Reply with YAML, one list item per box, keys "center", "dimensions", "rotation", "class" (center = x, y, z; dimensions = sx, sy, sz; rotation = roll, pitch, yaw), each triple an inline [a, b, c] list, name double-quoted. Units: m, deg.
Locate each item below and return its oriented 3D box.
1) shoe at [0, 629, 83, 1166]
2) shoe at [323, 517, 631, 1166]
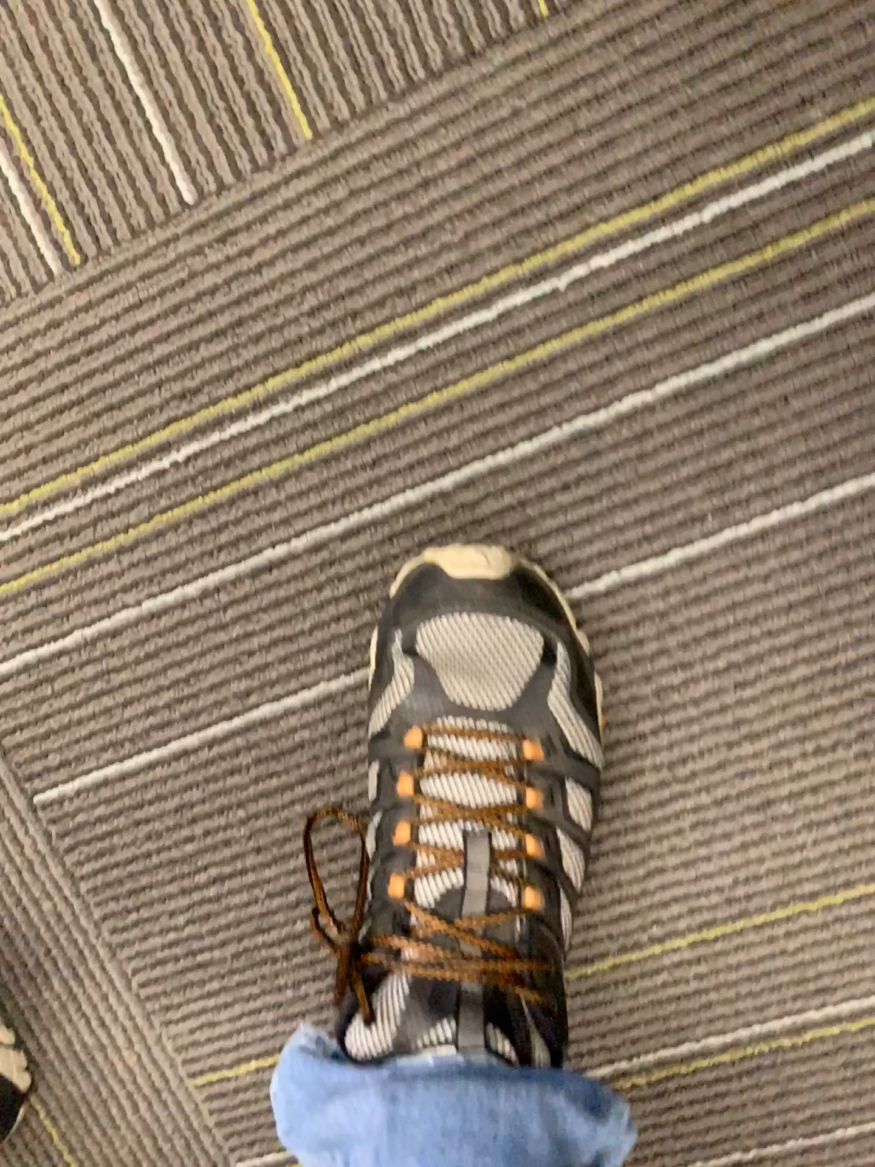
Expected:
- center: [-0.342, 0.205, 0.501]
  dimensions: [0.125, 0.095, 0.323]
  rotation: [-17, 102, 11]
  class: "shoe"
- center: [0.016, 0.137, 0.442]
  dimensions: [0.122, 0.095, 0.322]
  rotation: [3, 105, 6]
  class: "shoe"
